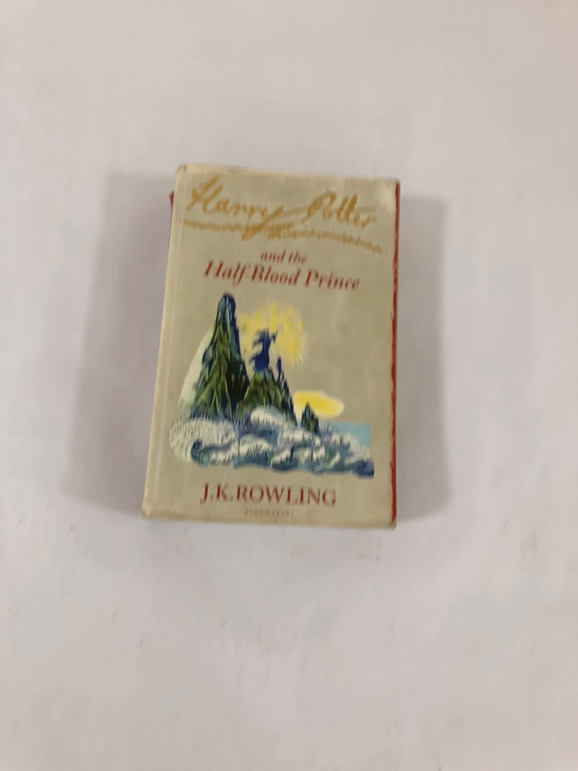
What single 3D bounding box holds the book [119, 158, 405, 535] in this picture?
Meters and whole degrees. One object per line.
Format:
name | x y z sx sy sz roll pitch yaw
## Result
book | -0.011 -0.018 0.336 0.129 0.050 0.181 3 77 -5
